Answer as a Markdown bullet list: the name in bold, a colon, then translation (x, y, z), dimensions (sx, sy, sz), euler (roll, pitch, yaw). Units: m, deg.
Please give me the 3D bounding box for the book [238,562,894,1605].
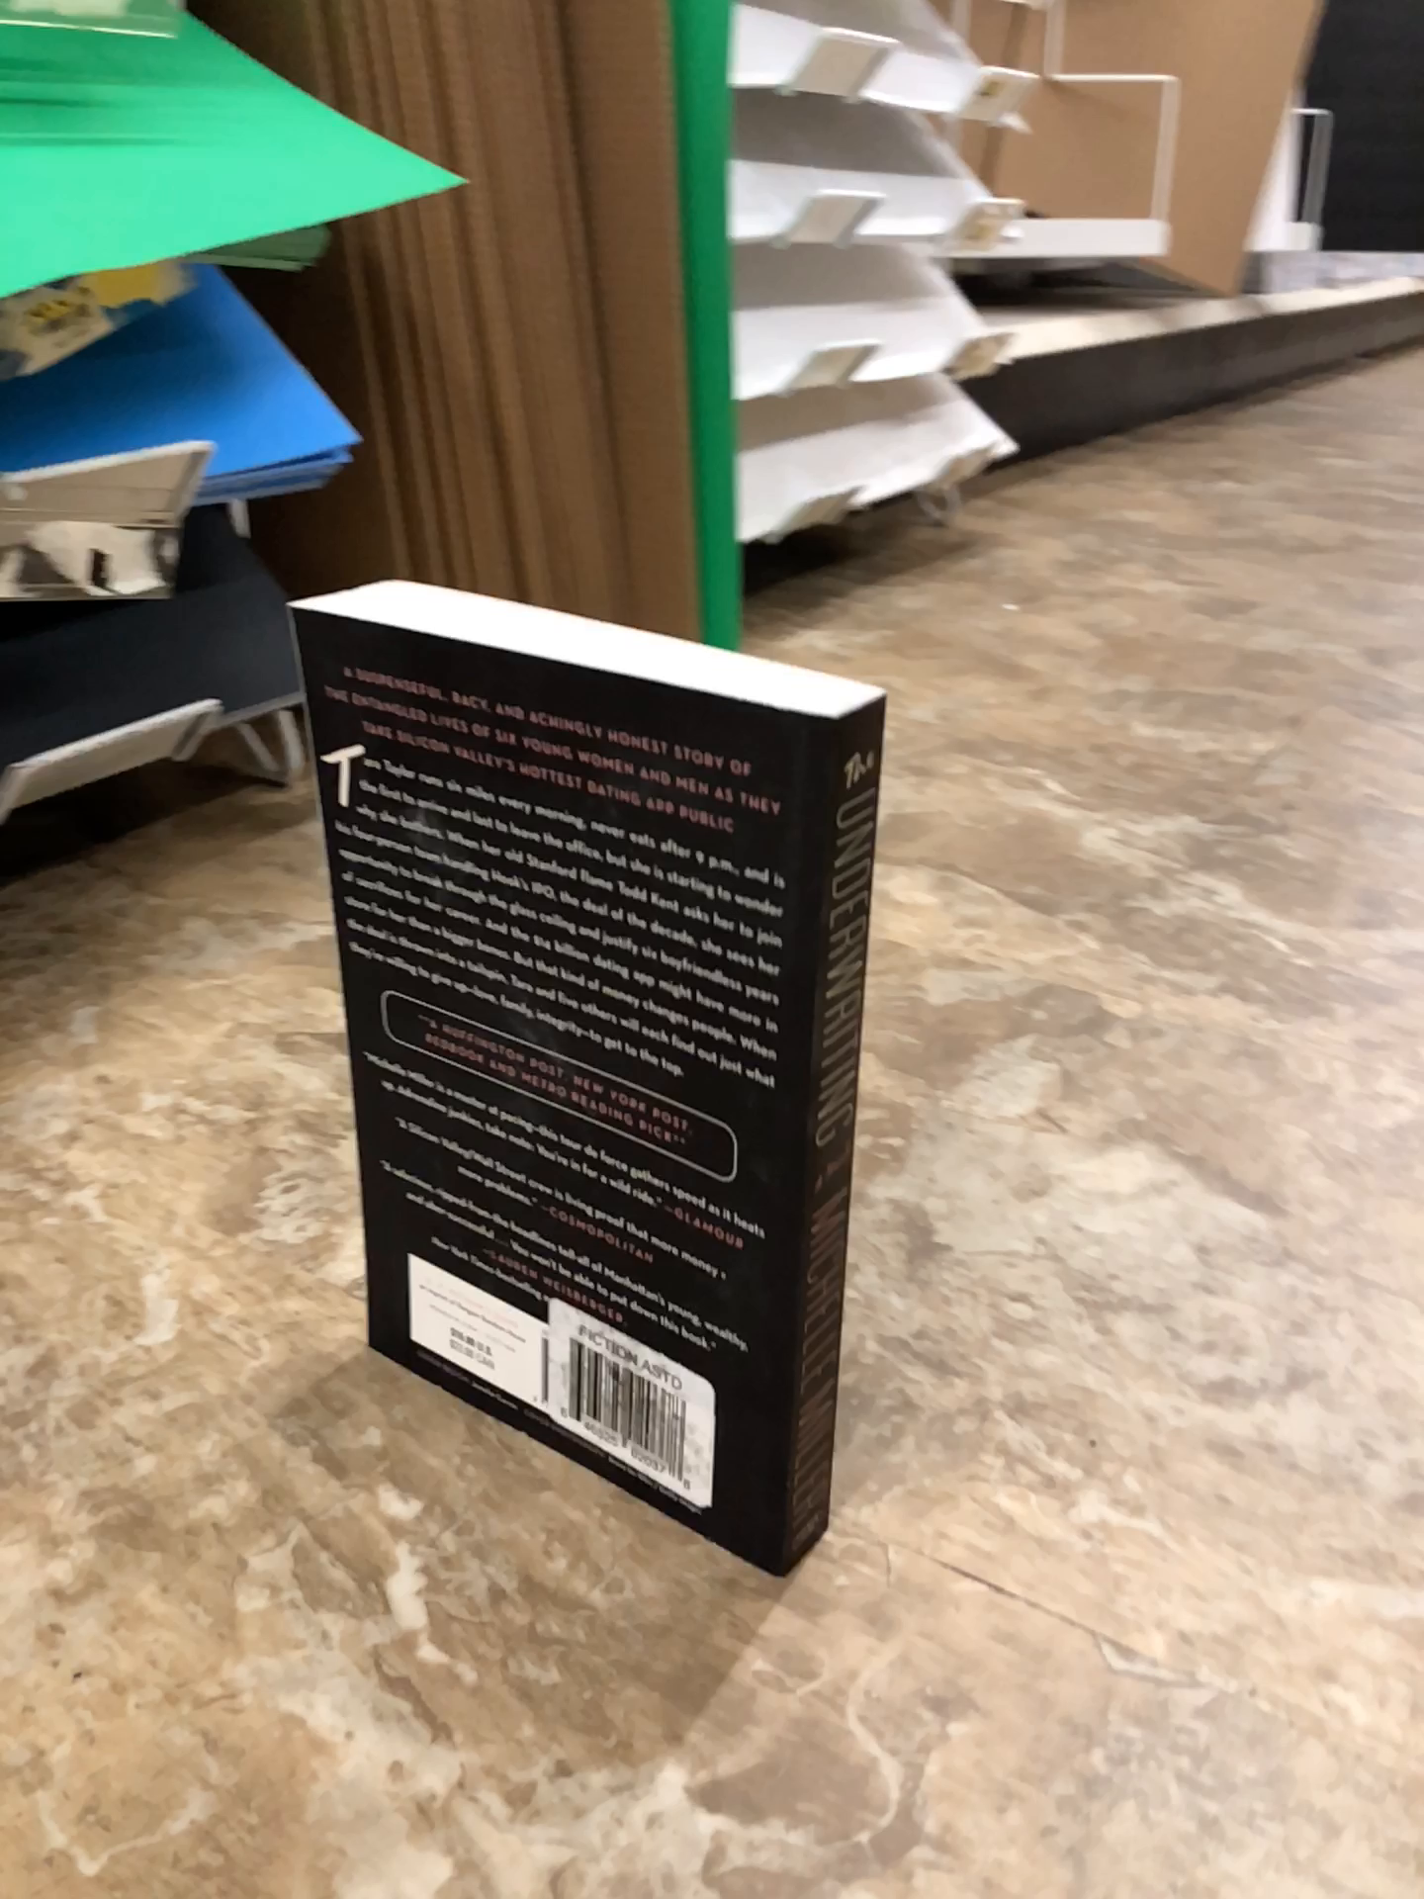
- **book**: translation (-0.036, 0.028, 0.353), dimensions (0.140, 0.203, 0.035), euler (18, 29, 31)
